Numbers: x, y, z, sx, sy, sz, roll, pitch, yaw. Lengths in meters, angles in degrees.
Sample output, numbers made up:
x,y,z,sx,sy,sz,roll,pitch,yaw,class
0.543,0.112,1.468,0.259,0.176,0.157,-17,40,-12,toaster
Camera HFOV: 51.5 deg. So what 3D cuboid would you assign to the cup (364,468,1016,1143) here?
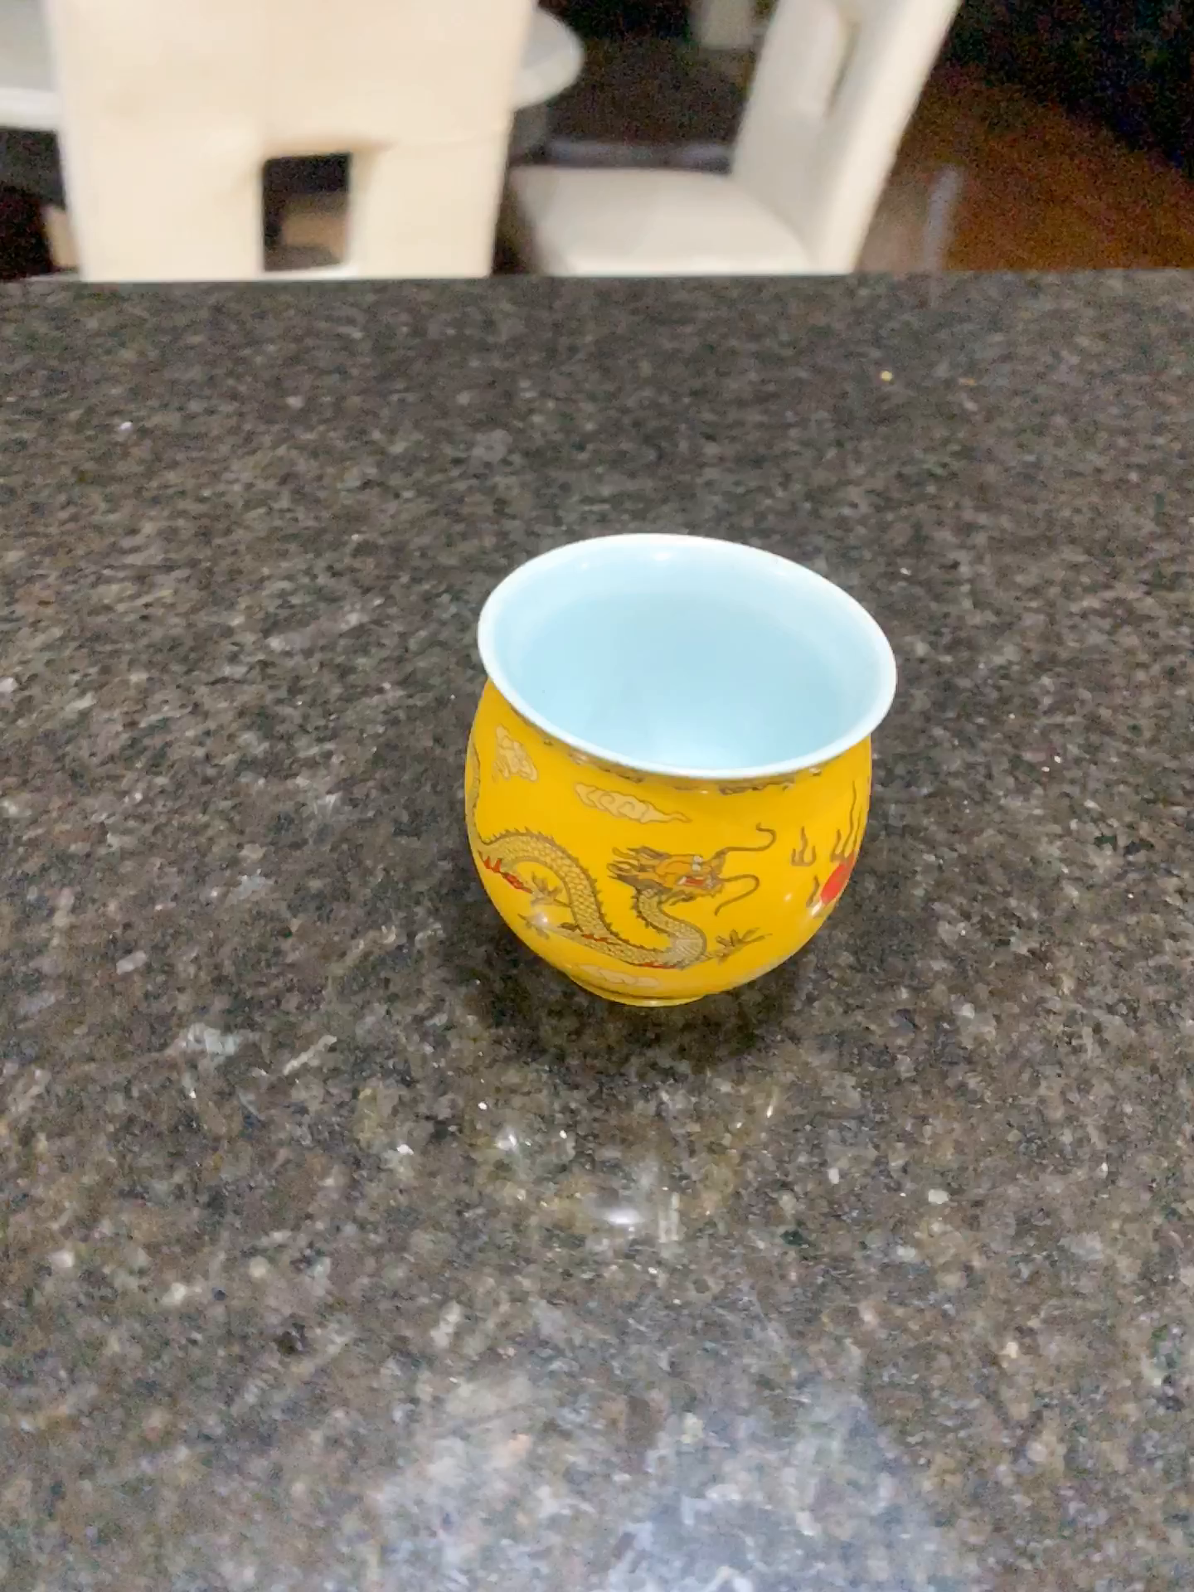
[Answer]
x,y,z,sx,sy,sz,roll,pitch,yaw,class
0.013,-0.003,0.218,0.076,0.066,0.073,3,40,-3,cup
